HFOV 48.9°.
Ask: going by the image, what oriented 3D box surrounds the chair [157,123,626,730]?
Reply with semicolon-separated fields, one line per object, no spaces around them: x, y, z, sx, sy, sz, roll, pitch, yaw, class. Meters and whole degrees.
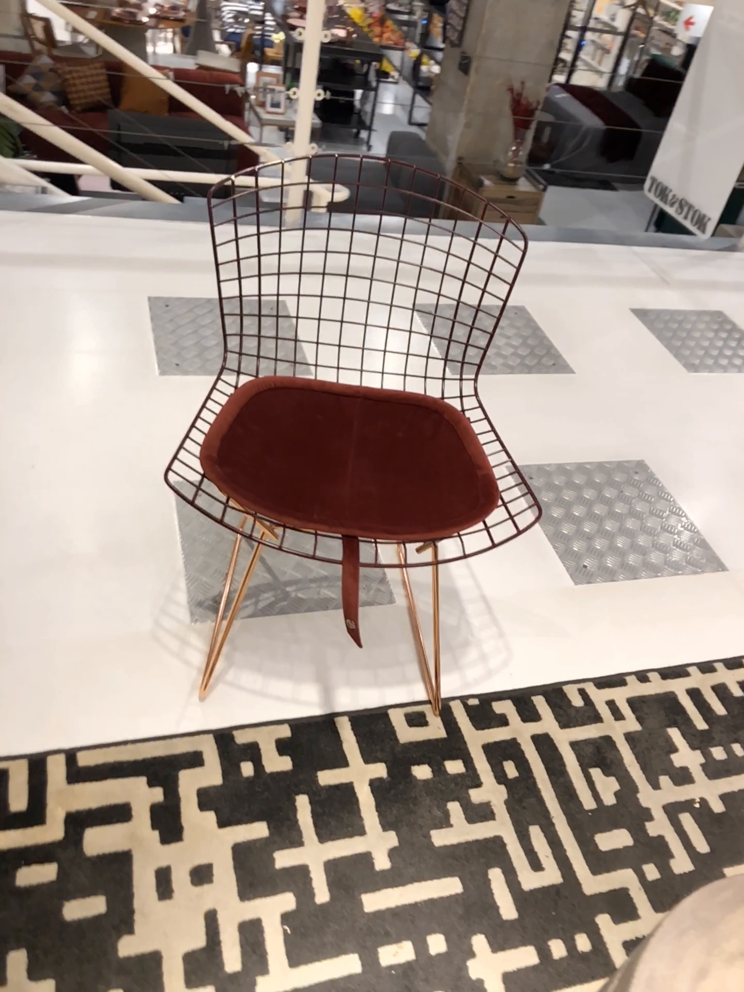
-0.037;-0.080;1.316;0.510;0.764;0.504;7;40;-7;chair
